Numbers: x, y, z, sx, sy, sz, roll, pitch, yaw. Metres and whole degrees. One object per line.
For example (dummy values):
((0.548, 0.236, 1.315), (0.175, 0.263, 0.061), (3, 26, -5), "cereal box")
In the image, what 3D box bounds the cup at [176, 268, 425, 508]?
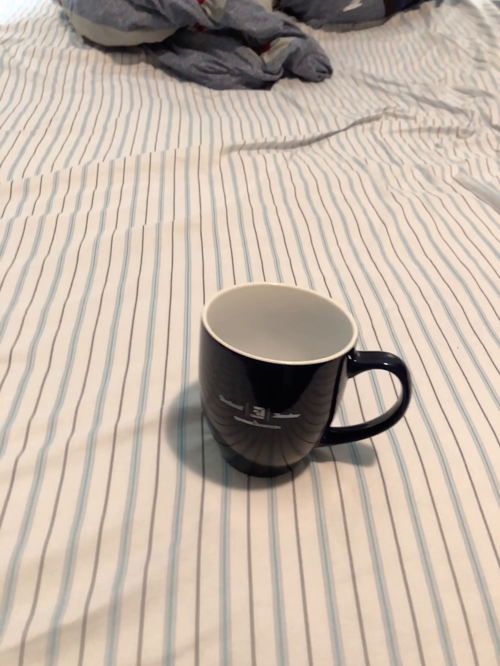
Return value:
((0.030, 0.030, 0.349), (0.130, 0.090, 0.090), (10, 35, 8), "cup")
